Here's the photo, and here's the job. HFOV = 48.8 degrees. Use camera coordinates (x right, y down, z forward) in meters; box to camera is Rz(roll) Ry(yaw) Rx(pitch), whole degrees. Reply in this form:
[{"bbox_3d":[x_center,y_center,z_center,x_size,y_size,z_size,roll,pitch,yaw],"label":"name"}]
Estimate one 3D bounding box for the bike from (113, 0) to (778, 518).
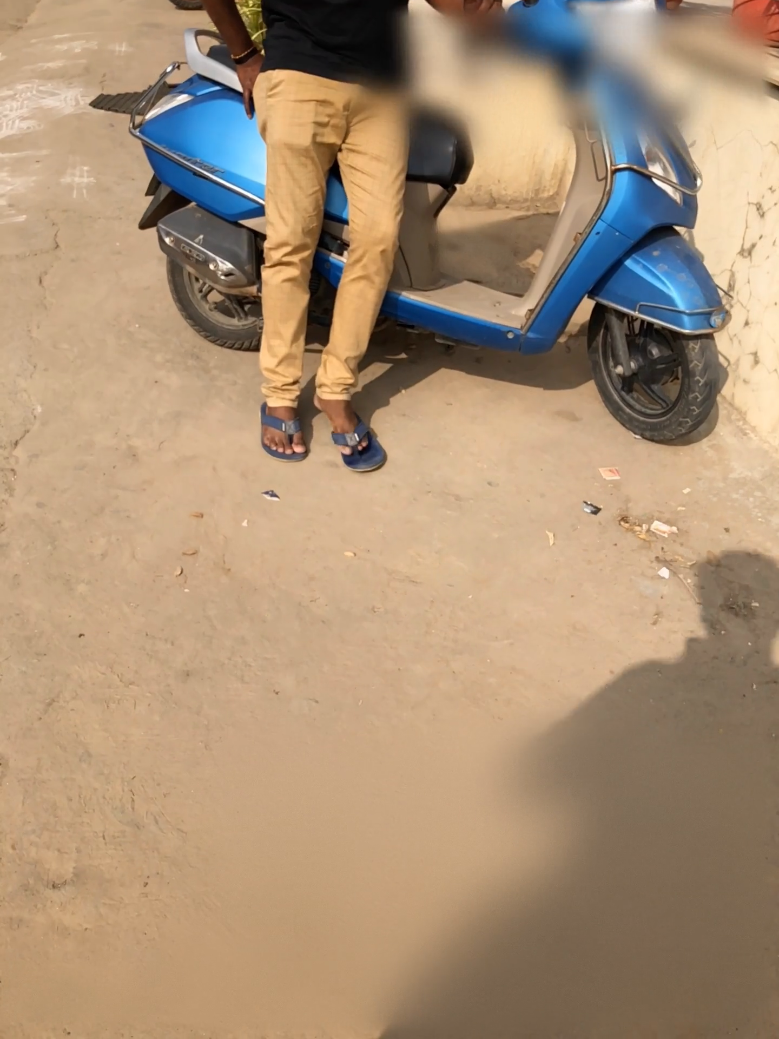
[{"bbox_3d":[0.114,-0.809,2.185,1.567,1.020,0.598,18,38,18],"label":"bike"}]
